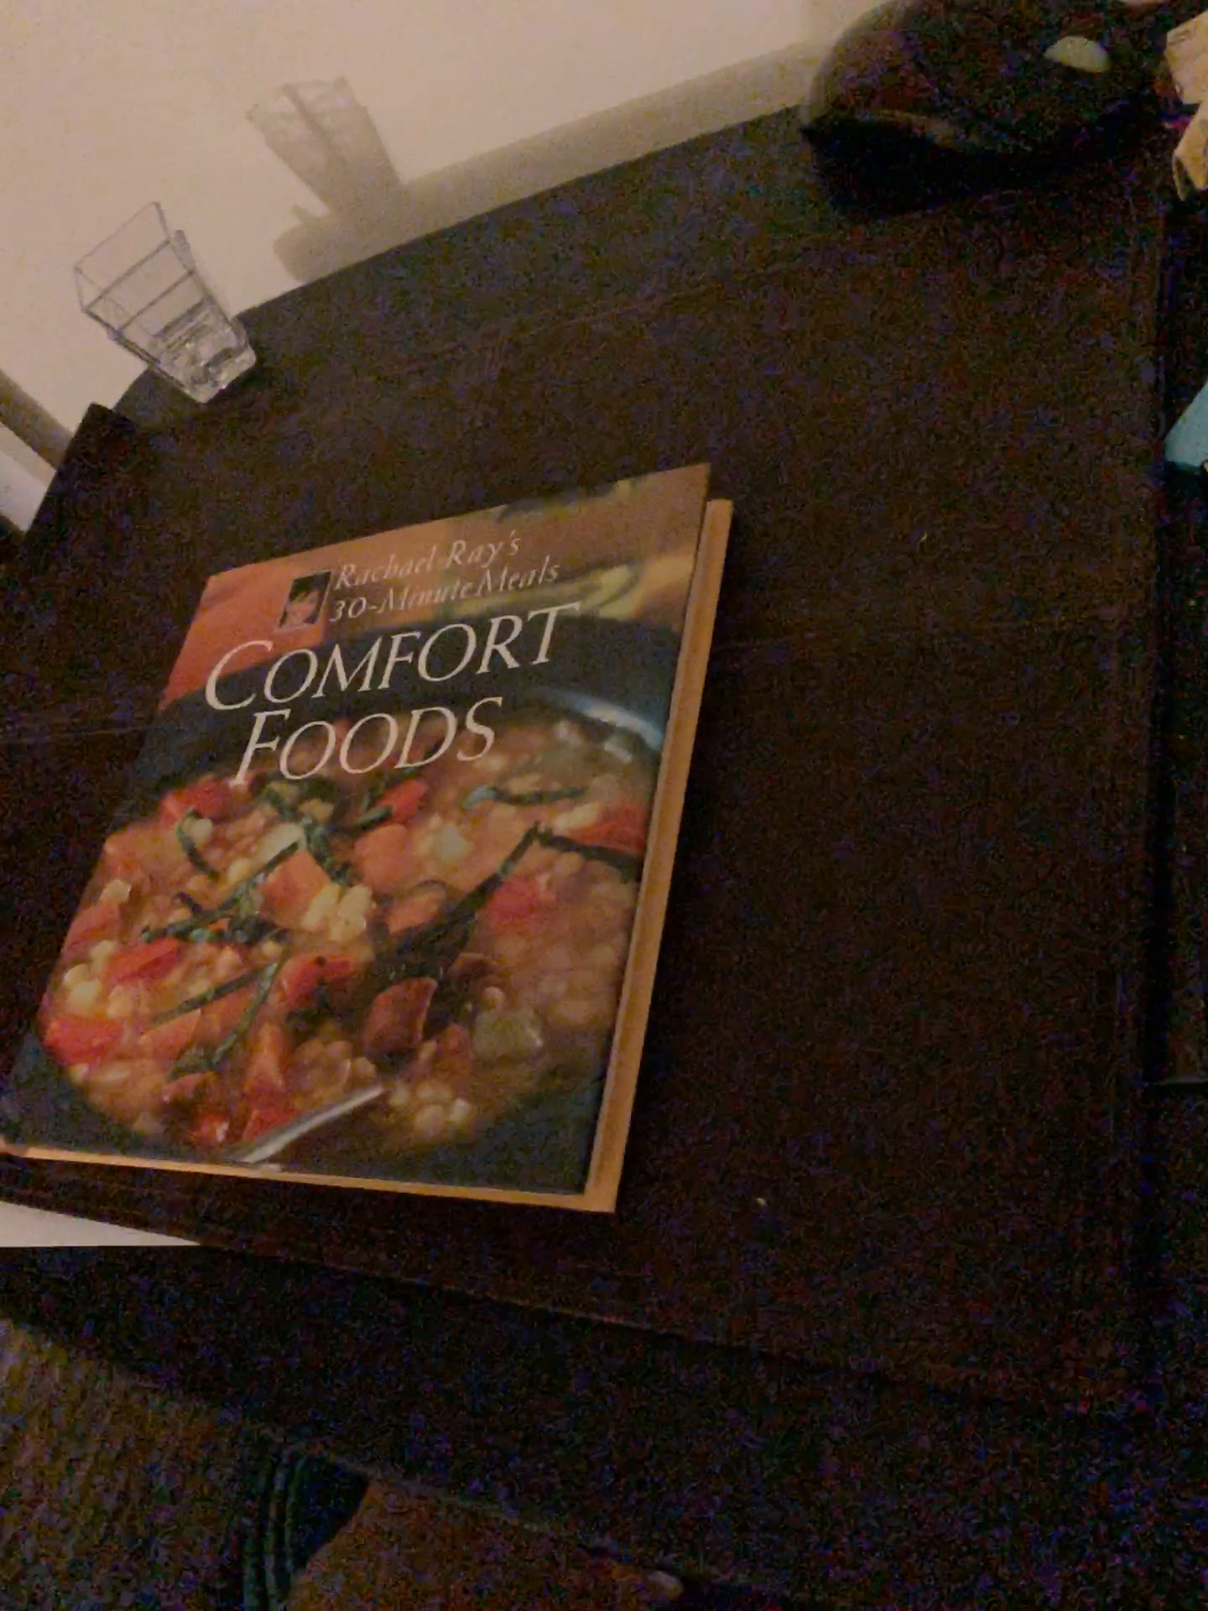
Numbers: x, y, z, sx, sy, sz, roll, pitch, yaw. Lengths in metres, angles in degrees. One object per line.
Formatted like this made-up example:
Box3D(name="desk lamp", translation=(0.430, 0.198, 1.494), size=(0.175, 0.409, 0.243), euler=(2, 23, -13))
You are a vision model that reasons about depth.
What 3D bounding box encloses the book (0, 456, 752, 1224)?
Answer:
Box3D(name="book", translation=(-0.067, 0.005, 0.353), size=(0.201, 0.020, 0.200), euler=(-6, 58, 30))
